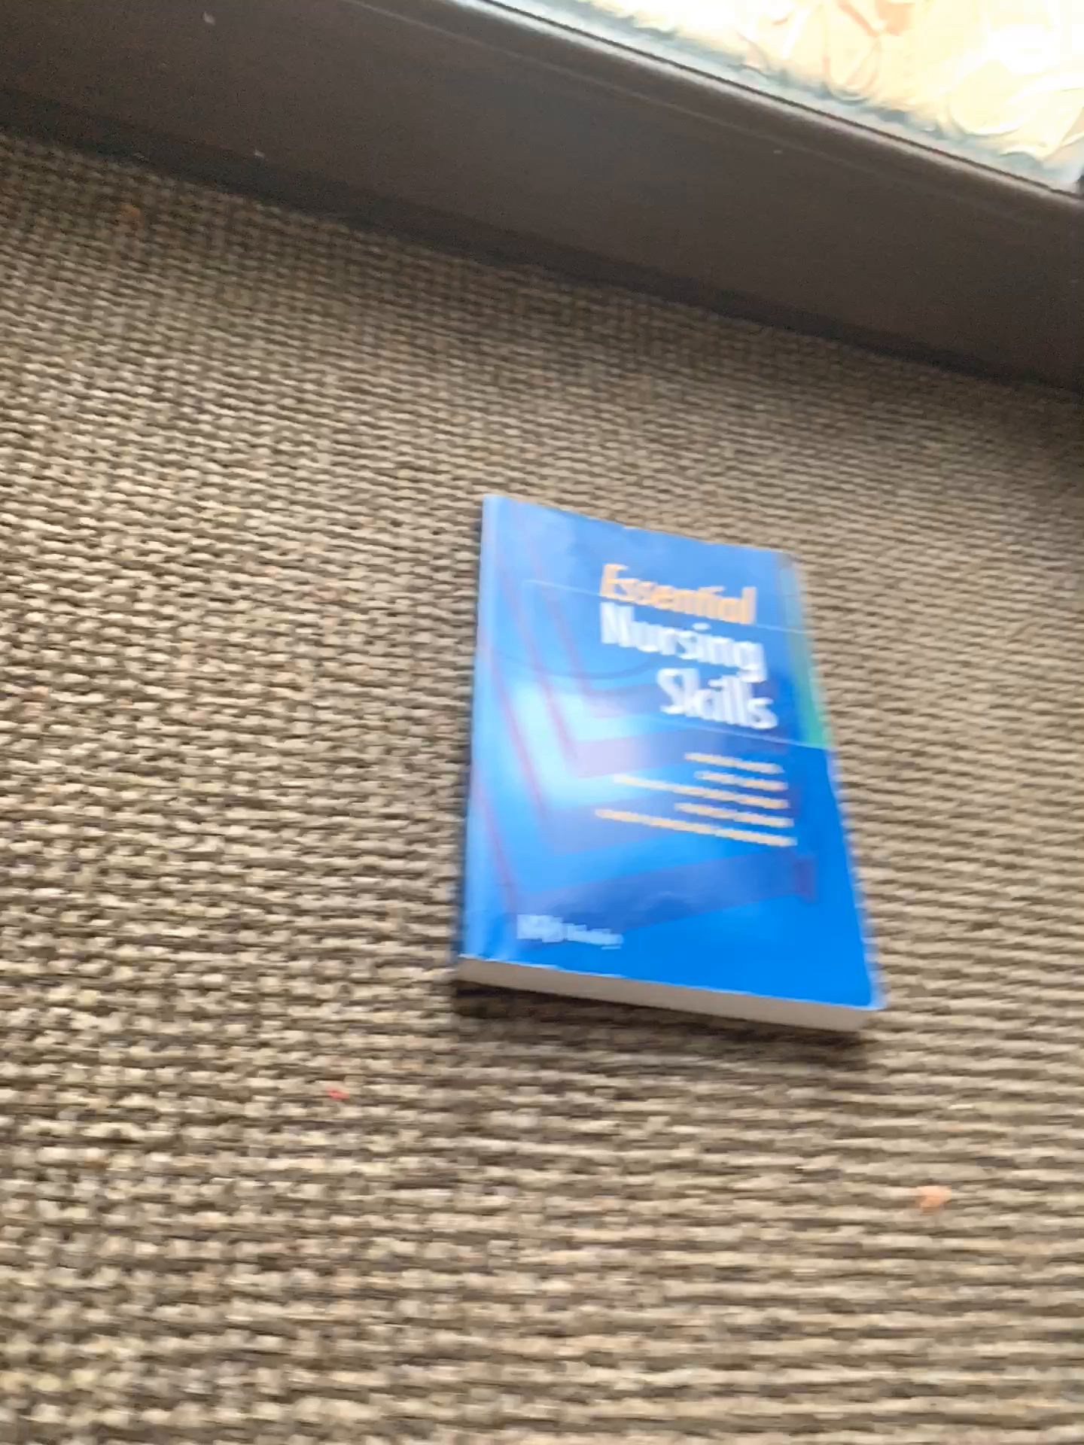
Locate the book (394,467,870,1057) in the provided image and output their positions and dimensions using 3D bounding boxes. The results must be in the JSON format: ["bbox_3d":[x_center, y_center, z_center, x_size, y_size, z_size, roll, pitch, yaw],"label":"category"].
[{"bbox_3d":[0.035,0.004,0.467,0.170,0.020,0.252,10,53,-12],"label":"book"}]
